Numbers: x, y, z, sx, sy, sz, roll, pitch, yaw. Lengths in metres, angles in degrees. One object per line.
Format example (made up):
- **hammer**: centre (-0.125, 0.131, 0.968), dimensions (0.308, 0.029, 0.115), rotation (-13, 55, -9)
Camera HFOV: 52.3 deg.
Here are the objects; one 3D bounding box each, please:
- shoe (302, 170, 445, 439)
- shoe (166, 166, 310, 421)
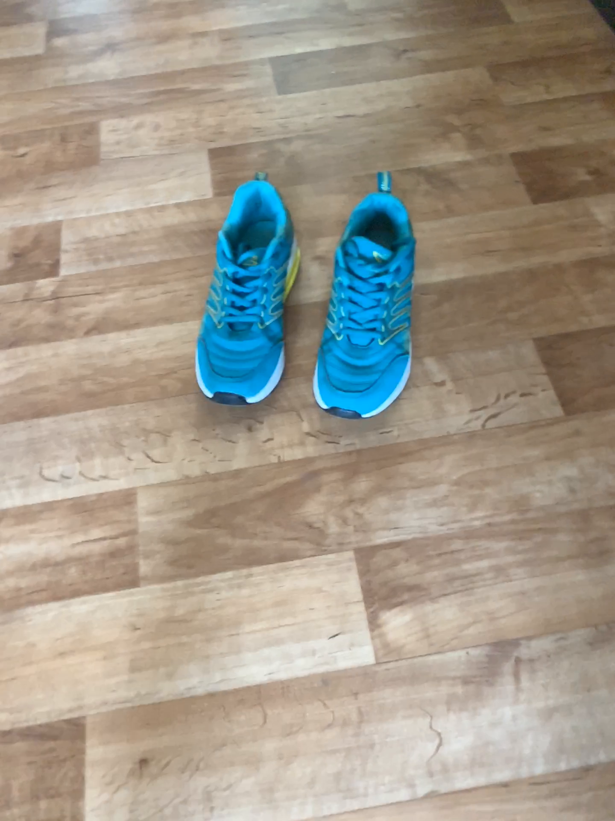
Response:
- **shoe**: centre (0.069, -0.112, 0.647), dimensions (0.100, 0.120, 0.240), rotation (10, 61, 6)
- **shoe**: centre (-0.062, -0.124, 0.657), dimensions (0.100, 0.120, 0.230), rotation (7, 60, 2)
